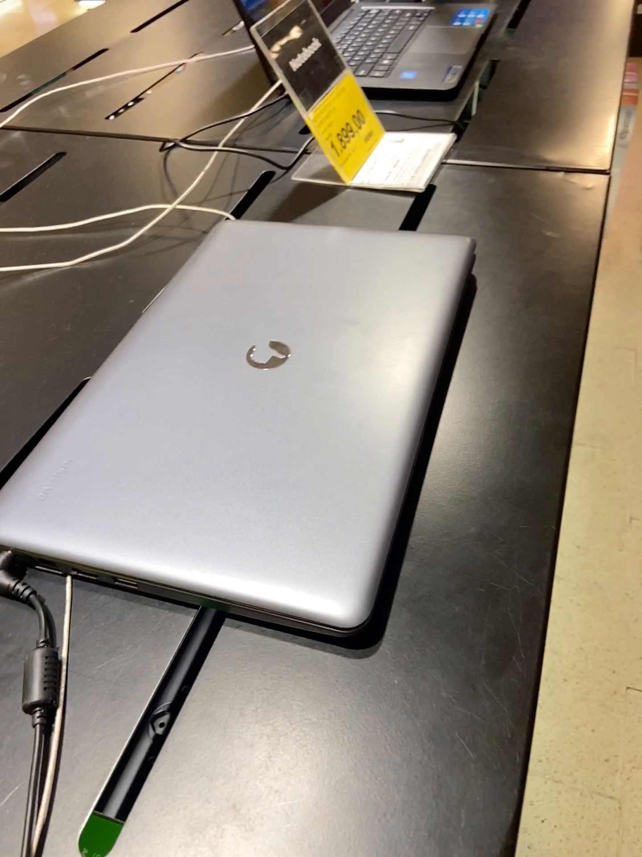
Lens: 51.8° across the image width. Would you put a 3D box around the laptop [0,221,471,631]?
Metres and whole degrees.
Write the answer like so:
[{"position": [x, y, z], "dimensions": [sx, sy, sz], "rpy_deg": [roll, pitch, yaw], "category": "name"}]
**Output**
[{"position": [-0.036, -0.044, 0.430], "dimensions": [0.212, 0.001, 0.331], "rpy_deg": [10, 48, 16], "category": "laptop"}]
